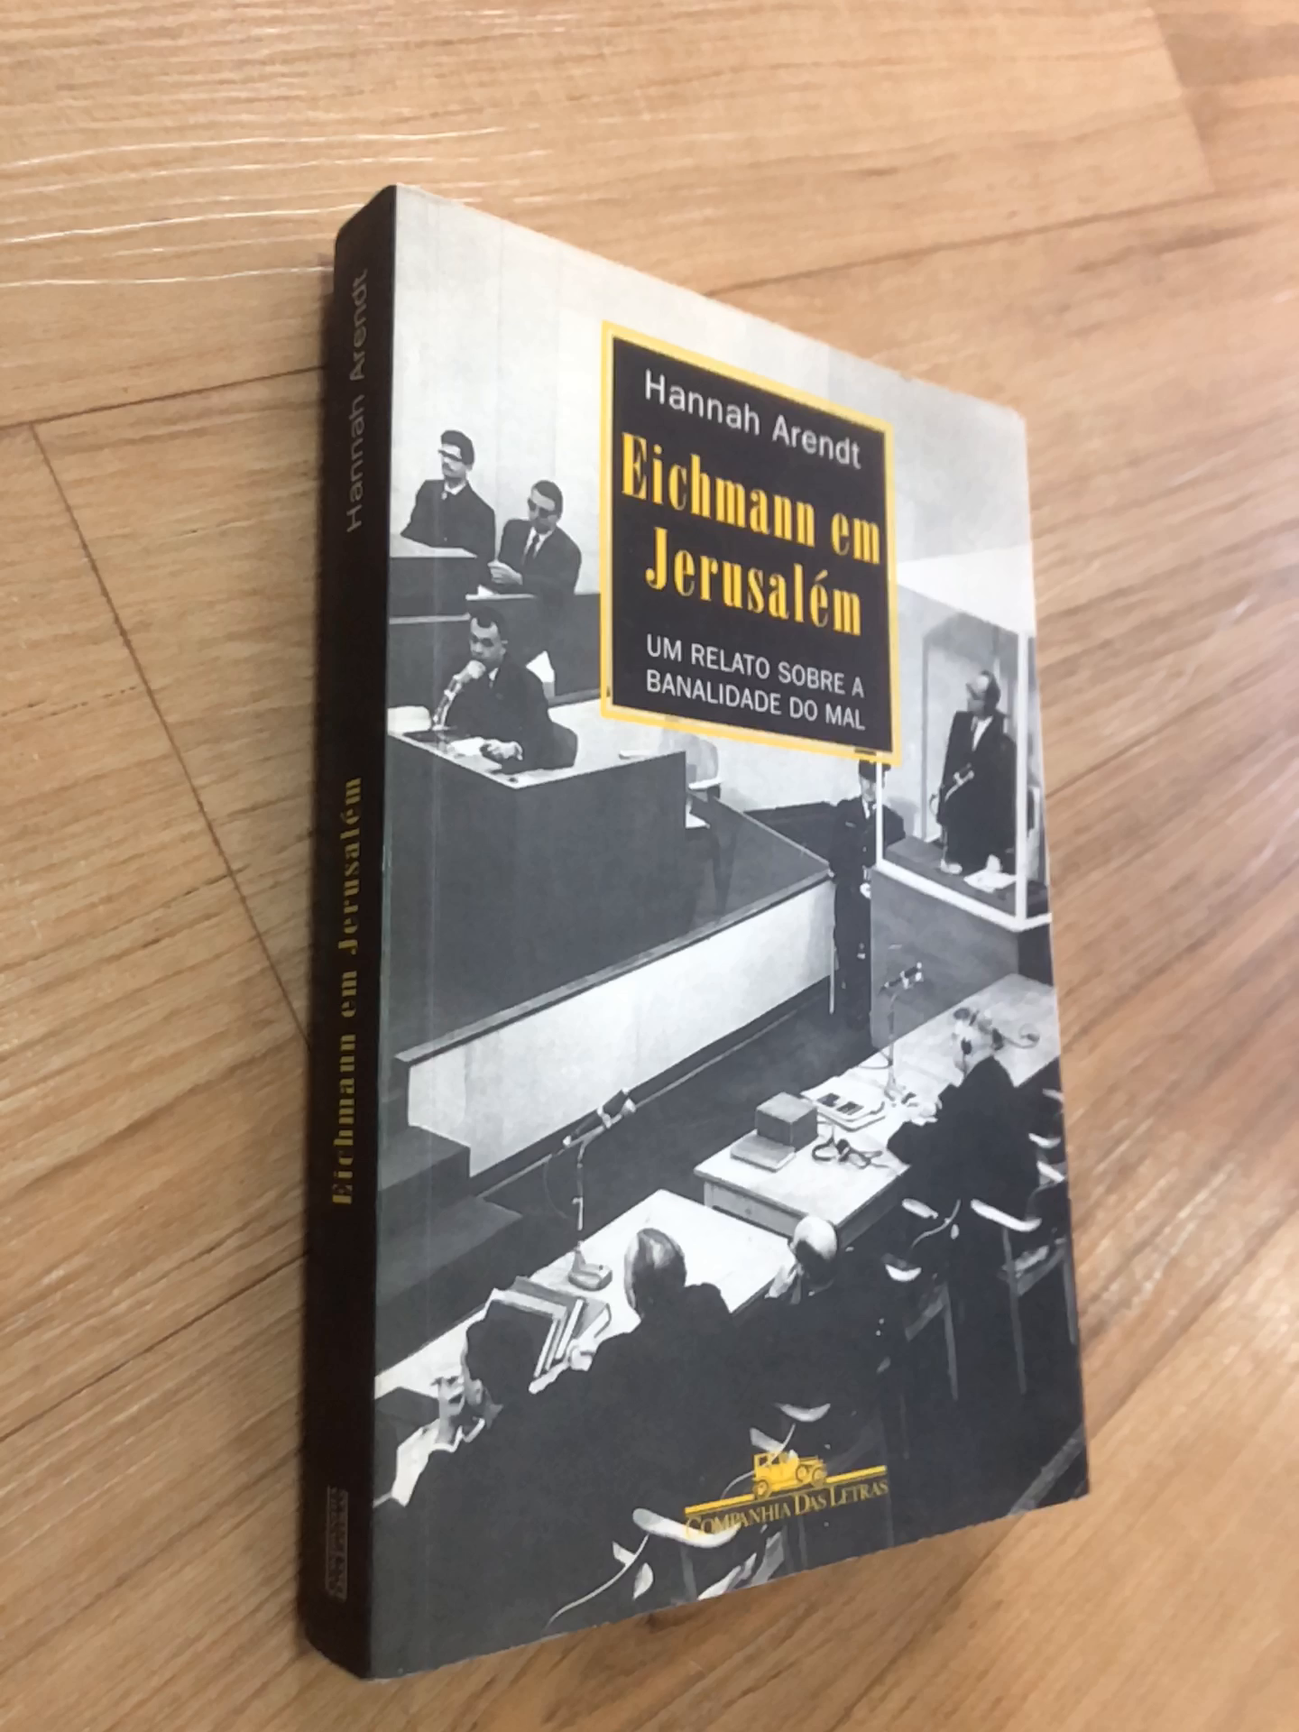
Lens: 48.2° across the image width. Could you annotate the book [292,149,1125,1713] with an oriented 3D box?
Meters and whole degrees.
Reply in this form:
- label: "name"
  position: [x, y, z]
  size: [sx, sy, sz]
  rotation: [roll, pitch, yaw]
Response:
- label: "book"
  position: [0.016, 0.006, 0.238]
  size: [0.145, 0.023, 0.202]
  rotation: [5, 79, -36]
